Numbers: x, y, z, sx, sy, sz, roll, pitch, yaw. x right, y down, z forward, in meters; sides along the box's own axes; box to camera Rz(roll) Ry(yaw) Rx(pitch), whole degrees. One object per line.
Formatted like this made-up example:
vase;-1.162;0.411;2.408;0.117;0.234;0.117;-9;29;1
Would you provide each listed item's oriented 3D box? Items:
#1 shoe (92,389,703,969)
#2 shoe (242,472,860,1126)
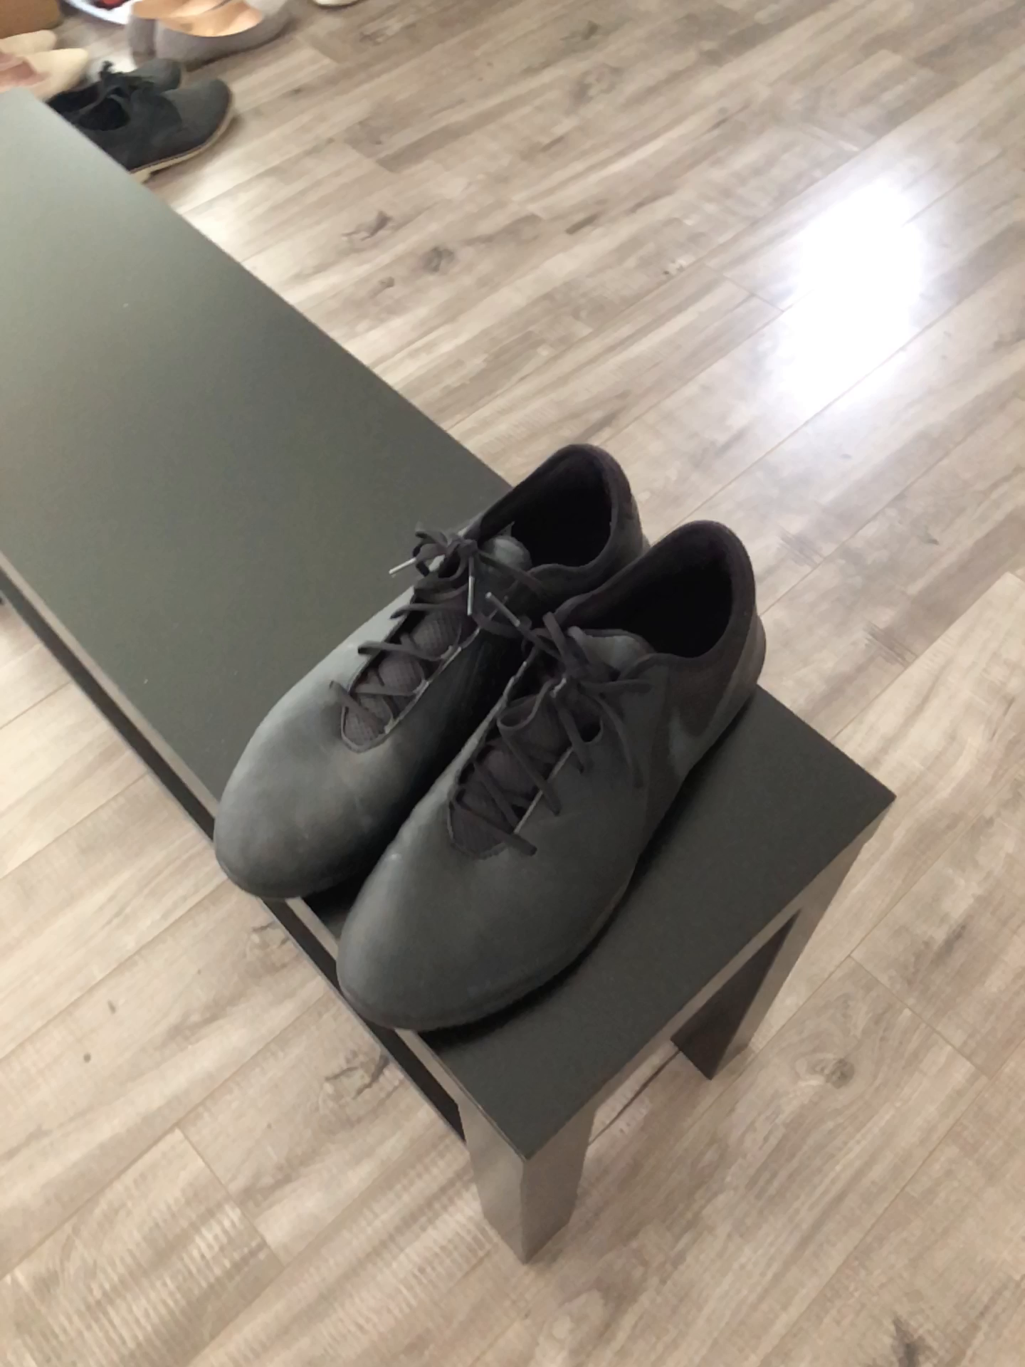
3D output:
shoe;-0.043;-0.010;0.569;0.100;0.110;0.293;39;65;23
shoe;0.028;0.045;0.528;0.100;0.110;0.293;36;64;21
